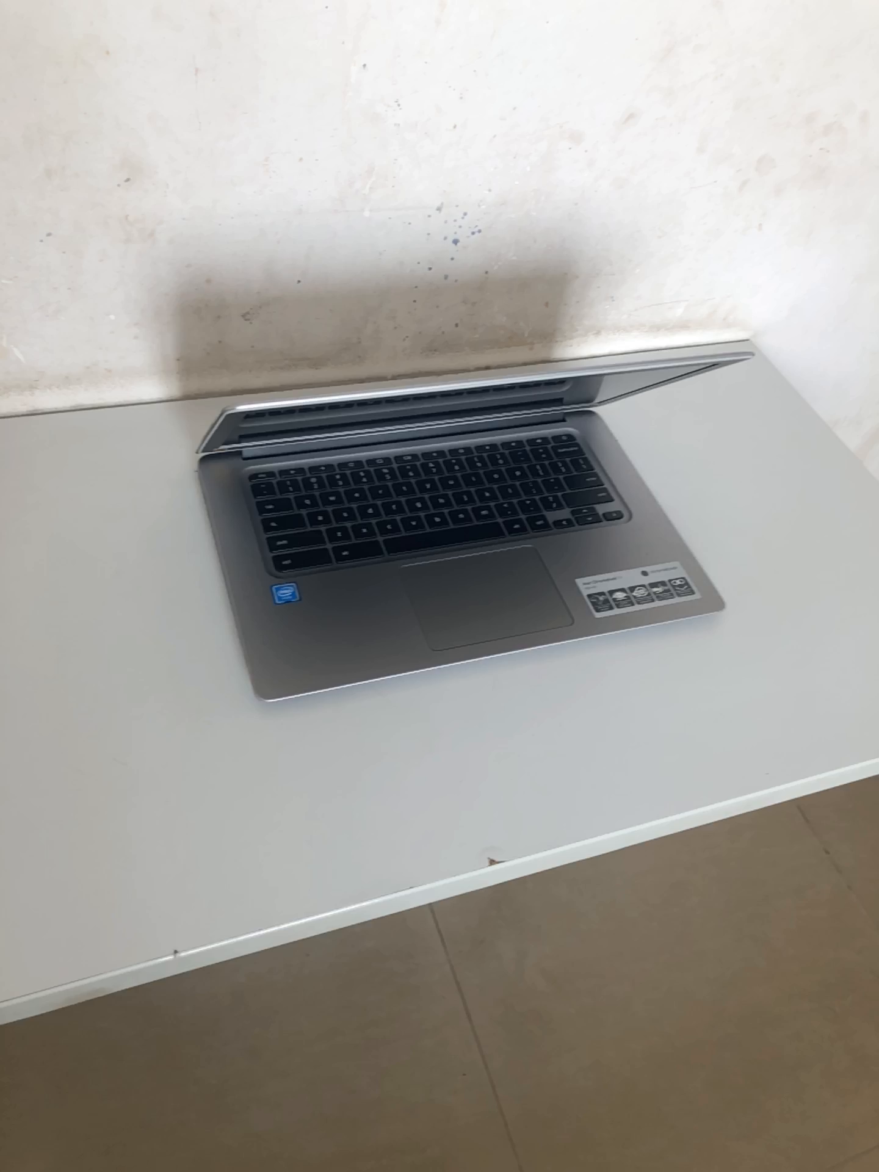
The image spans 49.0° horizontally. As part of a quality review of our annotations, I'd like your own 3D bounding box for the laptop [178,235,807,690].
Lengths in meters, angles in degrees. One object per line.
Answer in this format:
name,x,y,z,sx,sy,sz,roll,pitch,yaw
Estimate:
laptop,0.017,-0.096,0.638,0.326,0.155,0.222,-10,50,-18
